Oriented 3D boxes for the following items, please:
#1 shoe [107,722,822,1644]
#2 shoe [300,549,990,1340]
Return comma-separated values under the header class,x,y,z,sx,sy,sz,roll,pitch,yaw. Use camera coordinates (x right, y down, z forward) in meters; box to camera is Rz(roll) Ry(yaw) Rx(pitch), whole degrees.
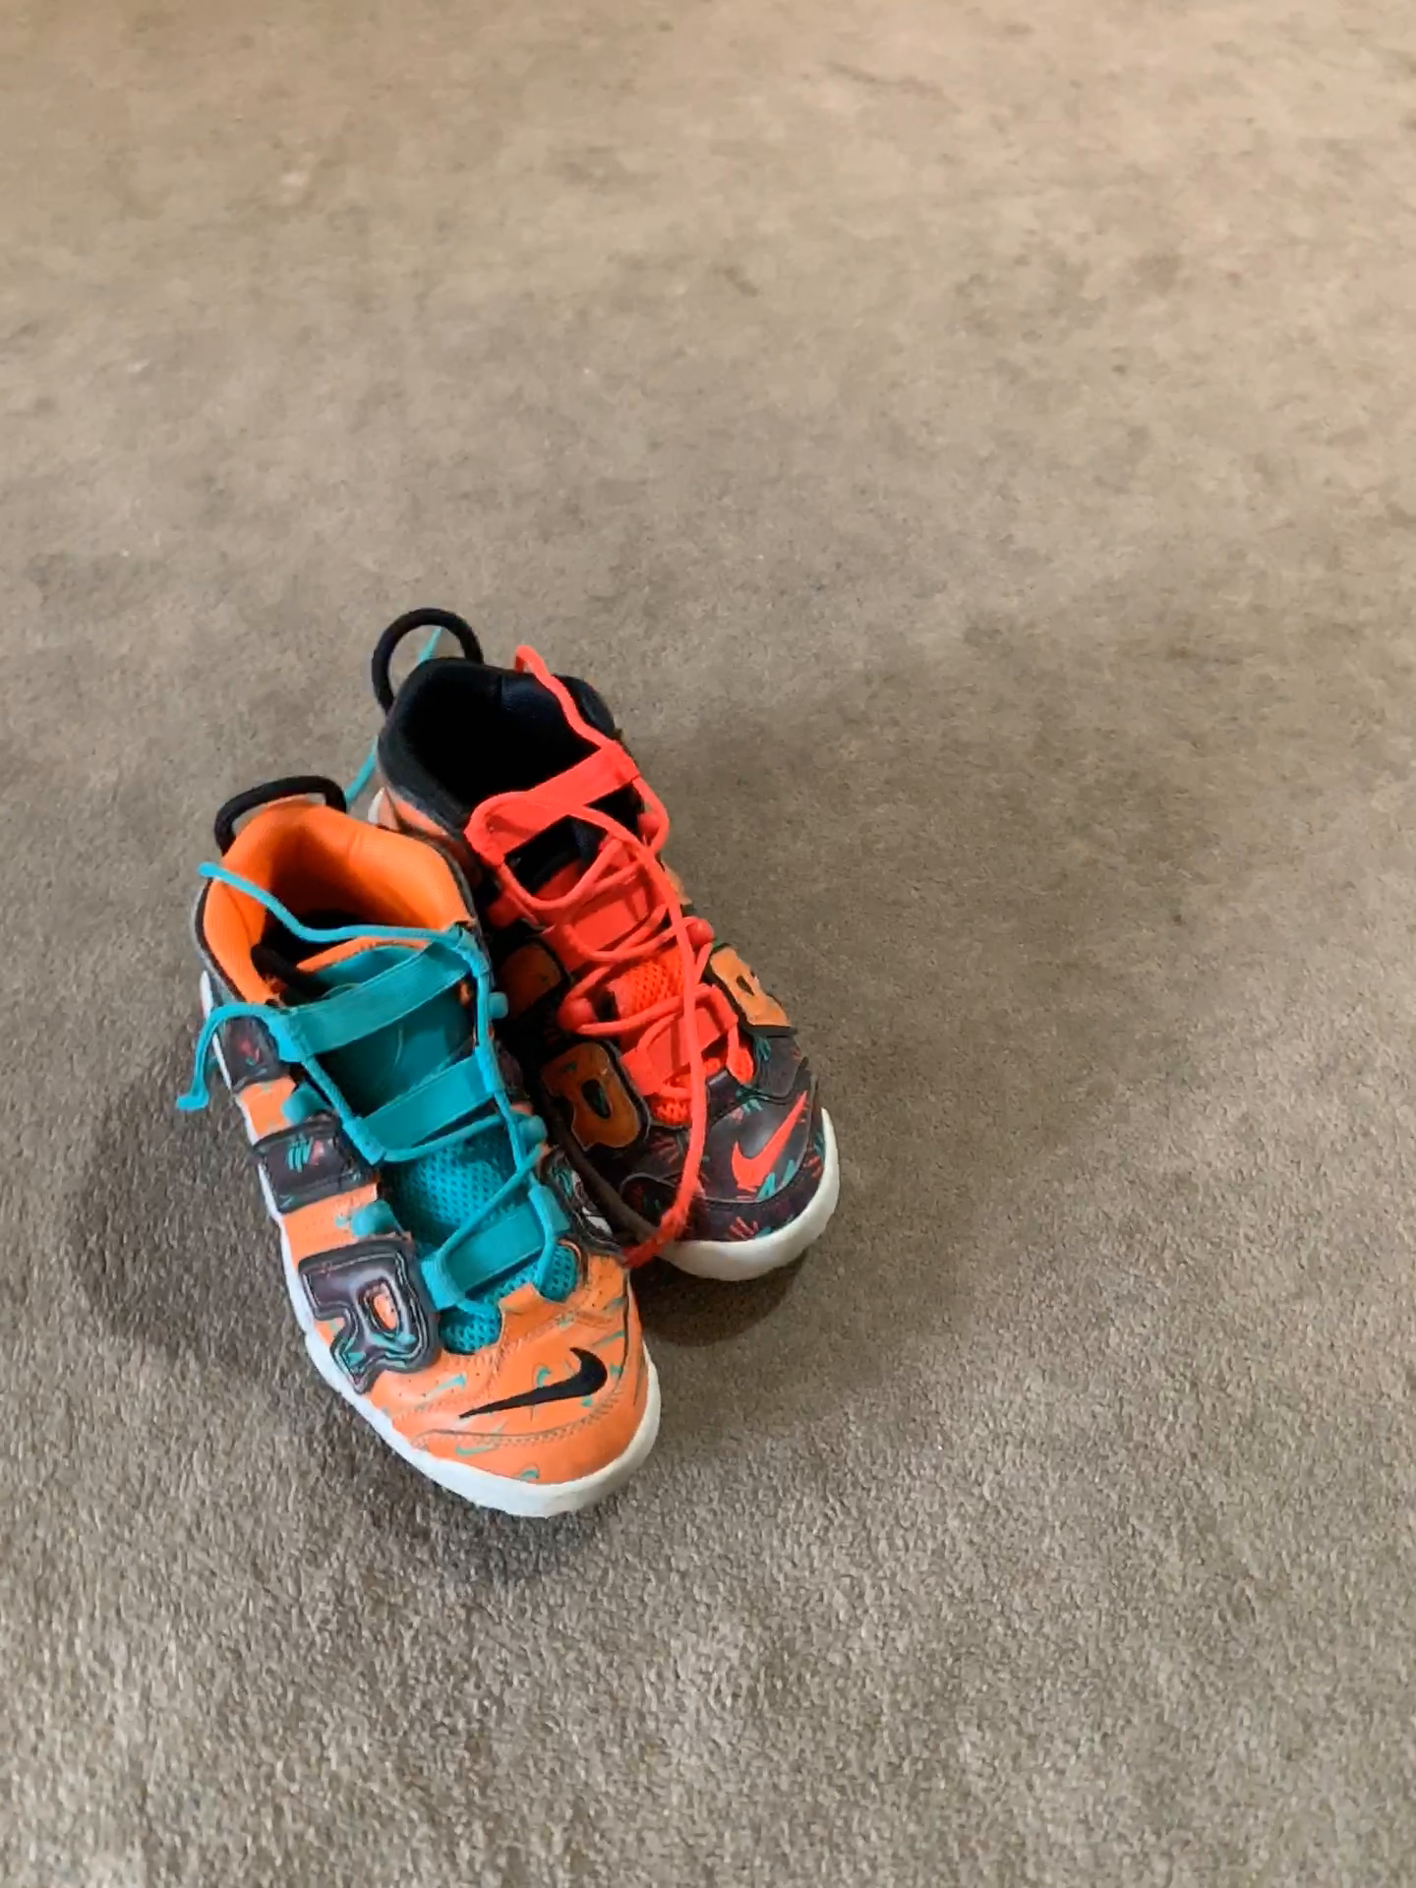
class,x,y,z,sx,sy,sz,roll,pitch,yaw
shoe,-0.081,0.068,0.454,0.100,0.089,0.251,-25,69,-19
shoe,-0.028,0.000,0.499,0.100,0.109,0.231,-31,71,-18
